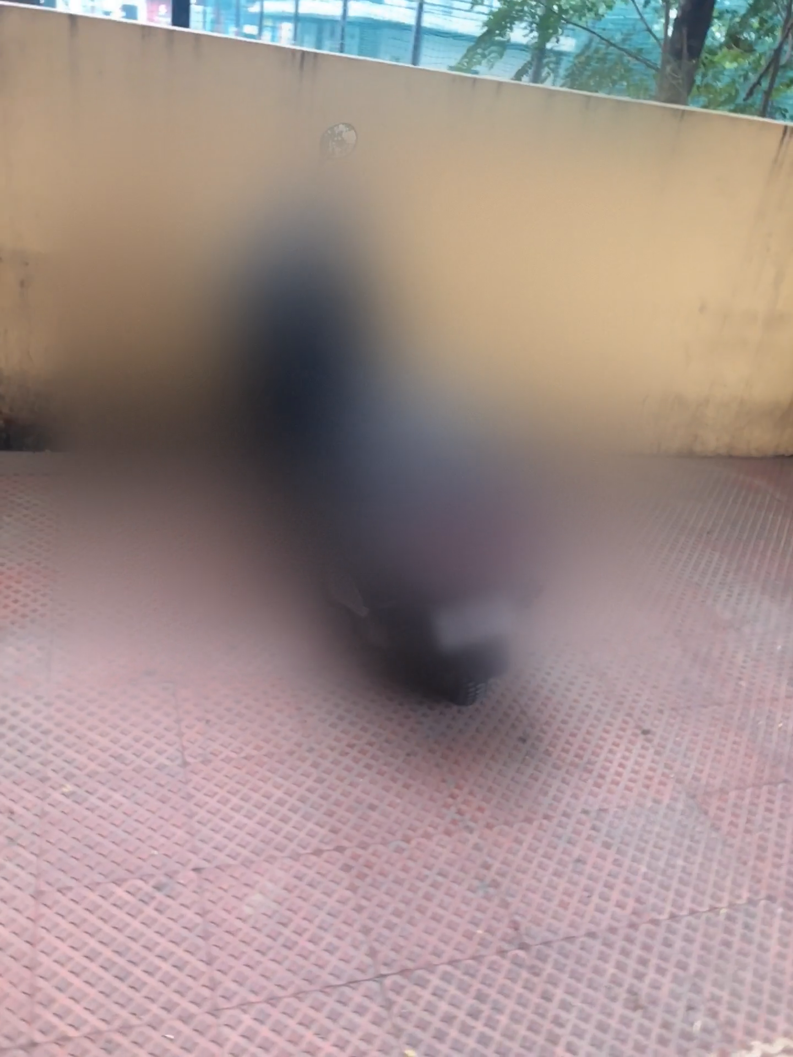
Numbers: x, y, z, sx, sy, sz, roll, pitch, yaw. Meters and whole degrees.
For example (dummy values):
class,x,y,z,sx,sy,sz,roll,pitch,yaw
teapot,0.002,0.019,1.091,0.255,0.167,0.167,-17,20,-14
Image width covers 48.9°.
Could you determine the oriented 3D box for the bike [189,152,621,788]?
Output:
class,x,y,z,sx,sy,sz,roll,pitch,yaw
bike,-0.154,-0.301,2.464,0.579,1.139,1.488,-3,31,-23
